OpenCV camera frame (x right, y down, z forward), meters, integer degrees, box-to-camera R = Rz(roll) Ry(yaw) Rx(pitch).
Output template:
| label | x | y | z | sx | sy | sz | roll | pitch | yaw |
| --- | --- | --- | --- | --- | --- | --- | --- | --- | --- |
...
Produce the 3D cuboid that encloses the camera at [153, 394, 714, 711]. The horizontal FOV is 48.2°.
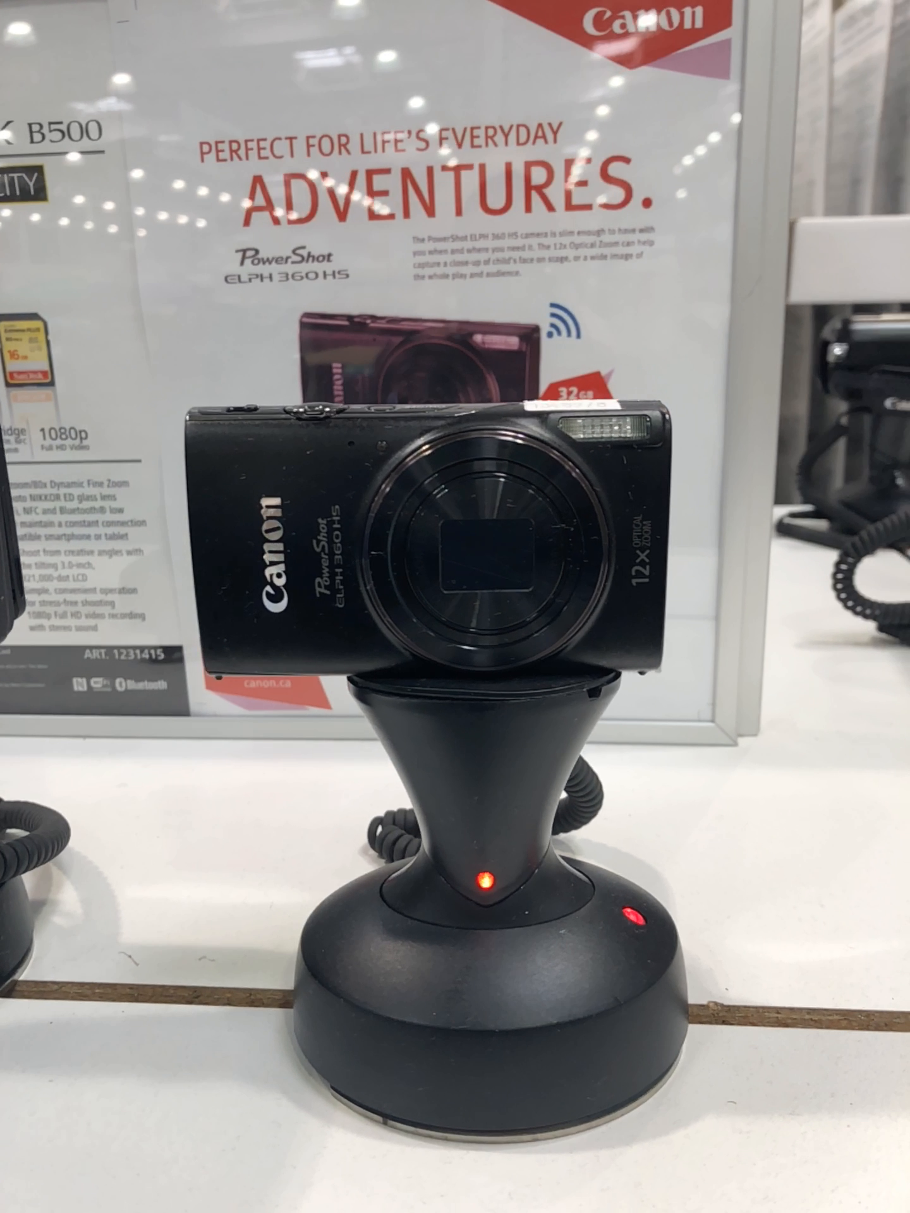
| label | x | y | z | sx | sy | sz | roll | pitch | yaw |
| --- | --- | --- | --- | --- | --- | --- | --- | --- | --- |
| camera | -0.003 | -0.013 | 0.226 | 0.110 | 0.060 | 0.040 | -1 | 17 | 3 |
